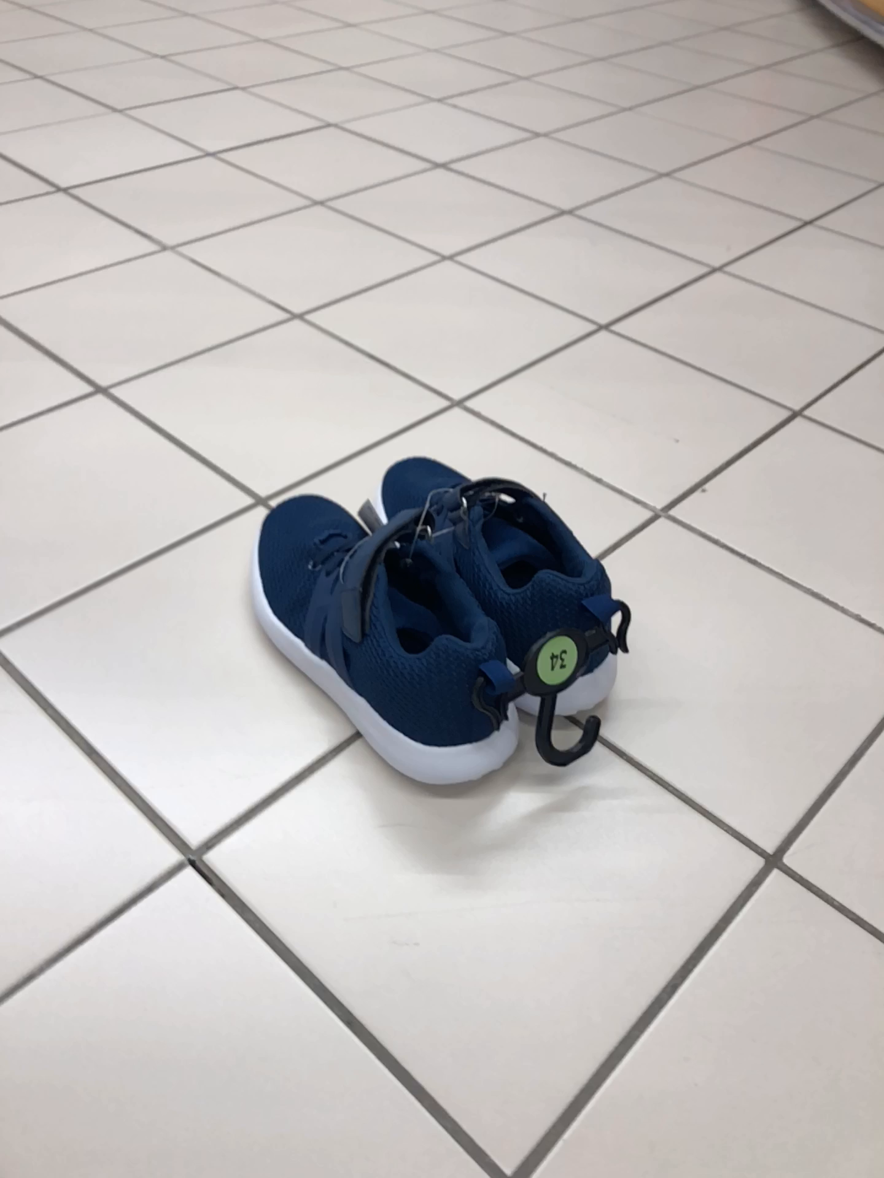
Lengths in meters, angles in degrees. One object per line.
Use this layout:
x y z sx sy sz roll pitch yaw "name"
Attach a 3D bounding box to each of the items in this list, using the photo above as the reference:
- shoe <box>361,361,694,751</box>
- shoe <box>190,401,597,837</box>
0.035 -0.033 0.588 0.103 0.094 0.237 -12 43 -17 "shoe"
-0.038 0.003 0.538 0.094 0.095 0.238 -24 48 -29 "shoe"
